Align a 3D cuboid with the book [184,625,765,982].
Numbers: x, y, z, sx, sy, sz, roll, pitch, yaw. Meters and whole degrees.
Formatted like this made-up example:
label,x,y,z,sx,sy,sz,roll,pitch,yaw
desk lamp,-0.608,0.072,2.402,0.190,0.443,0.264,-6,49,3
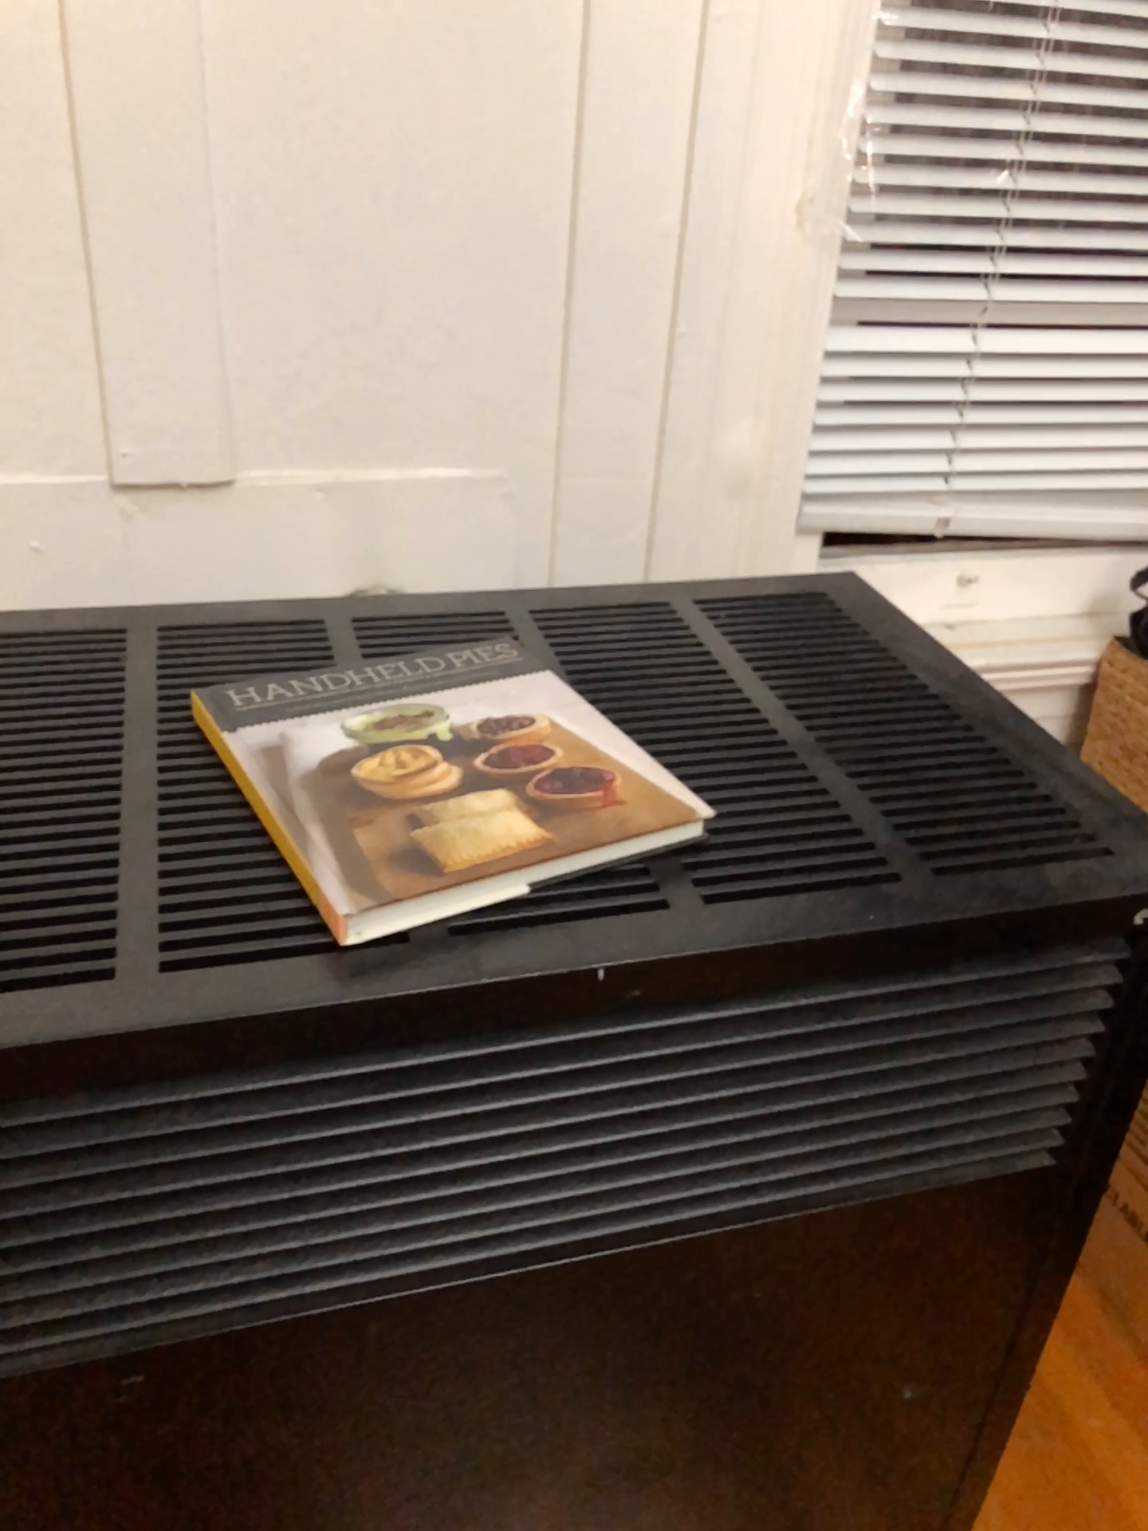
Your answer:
label,x,y,z,sx,sy,sz,roll,pitch,yaw
book,-0.058,0.001,0.620,0.200,0.020,0.231,-14,35,-27
